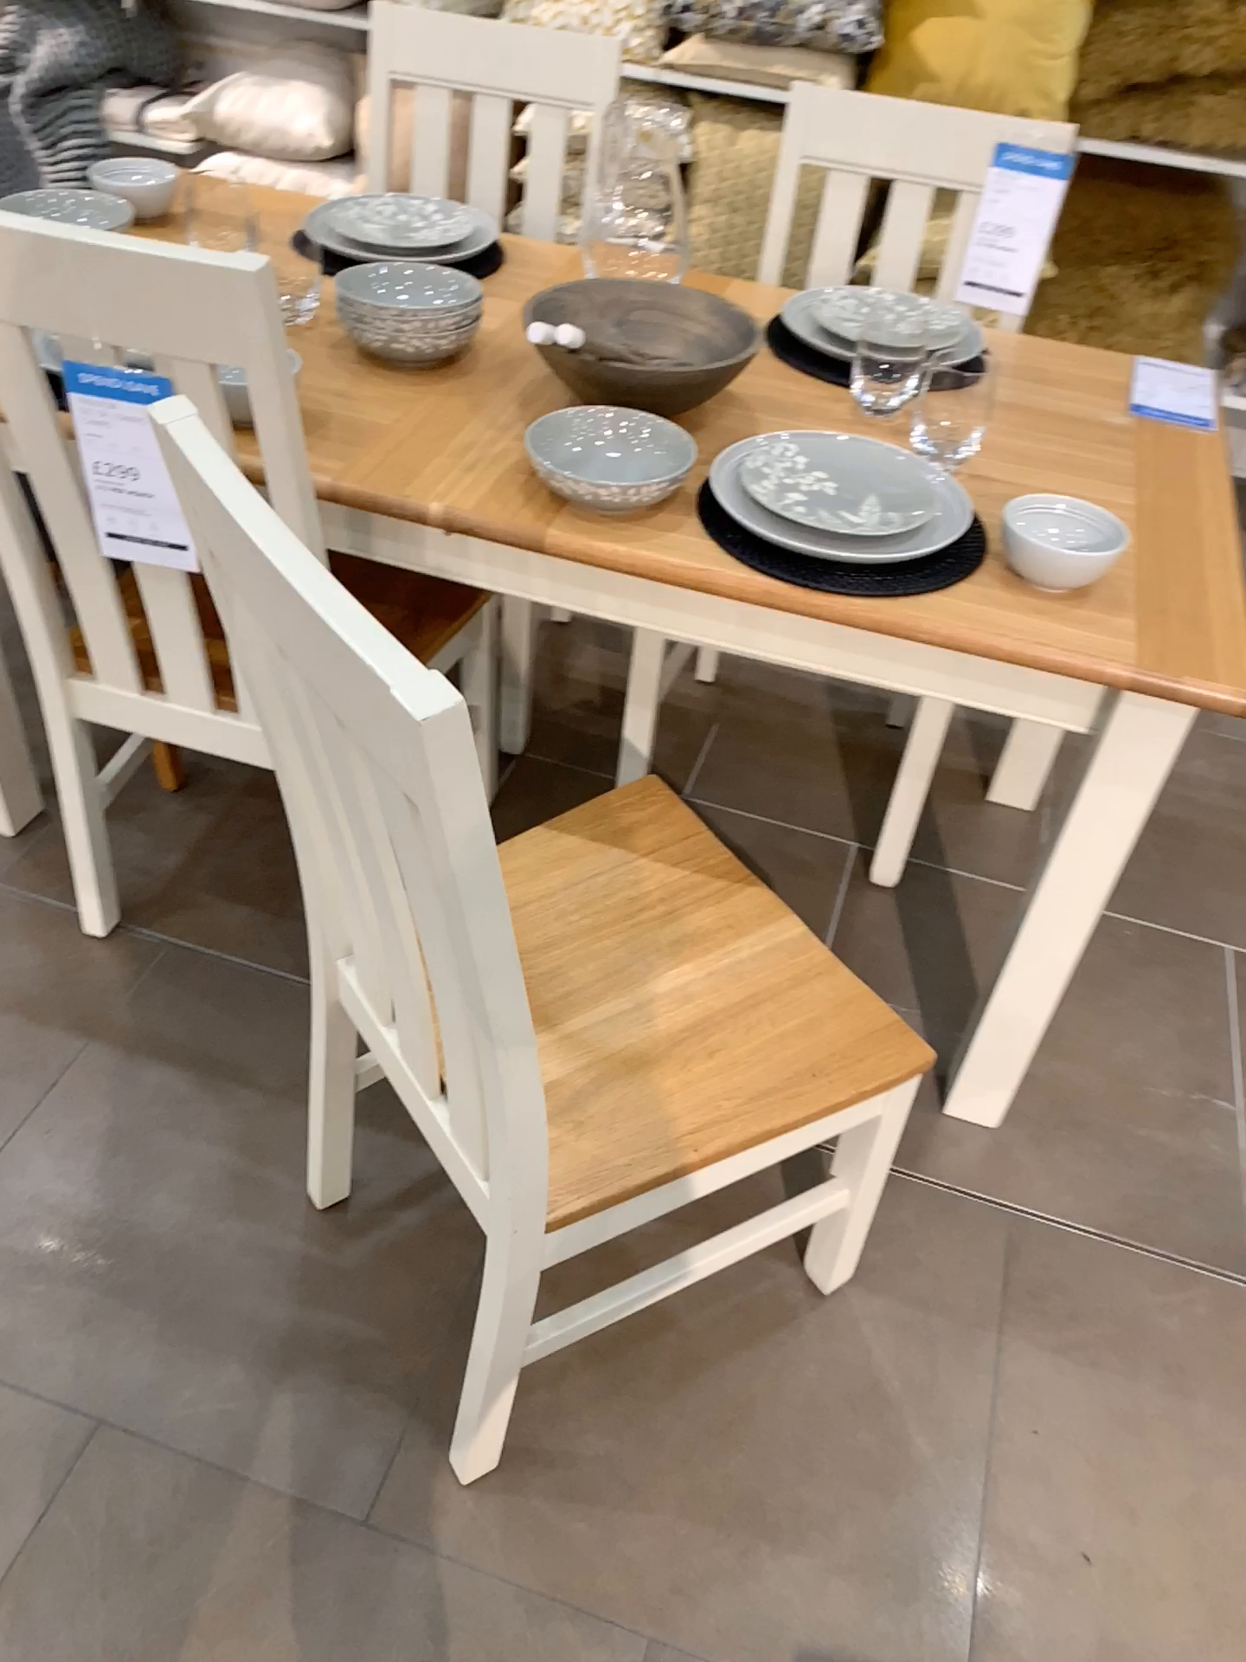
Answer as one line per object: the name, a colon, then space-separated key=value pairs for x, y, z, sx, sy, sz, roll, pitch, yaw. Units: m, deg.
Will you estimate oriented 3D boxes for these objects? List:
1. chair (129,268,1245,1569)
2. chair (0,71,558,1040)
chair: x=-0.006 y=0.090 z=1.132 sx=0.547 sy=0.925 sz=0.504 roll=-21 pitch=48 yaw=-28
chair: x=-0.424 y=-0.313 z=1.546 sx=0.472 sy=0.925 sz=0.540 roll=17 pitch=42 yaw=11
